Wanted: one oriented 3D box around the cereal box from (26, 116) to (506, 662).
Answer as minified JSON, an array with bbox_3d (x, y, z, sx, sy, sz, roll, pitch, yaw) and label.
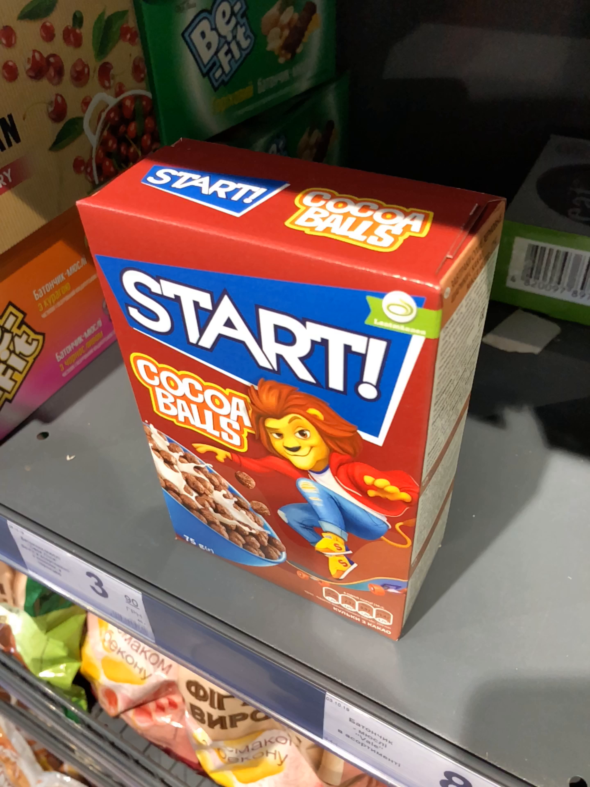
[{"bbox_3d":[-0.004,0.007,0.230,0.110,0.169,0.060,18,48,21],"label":"cereal box"}]
